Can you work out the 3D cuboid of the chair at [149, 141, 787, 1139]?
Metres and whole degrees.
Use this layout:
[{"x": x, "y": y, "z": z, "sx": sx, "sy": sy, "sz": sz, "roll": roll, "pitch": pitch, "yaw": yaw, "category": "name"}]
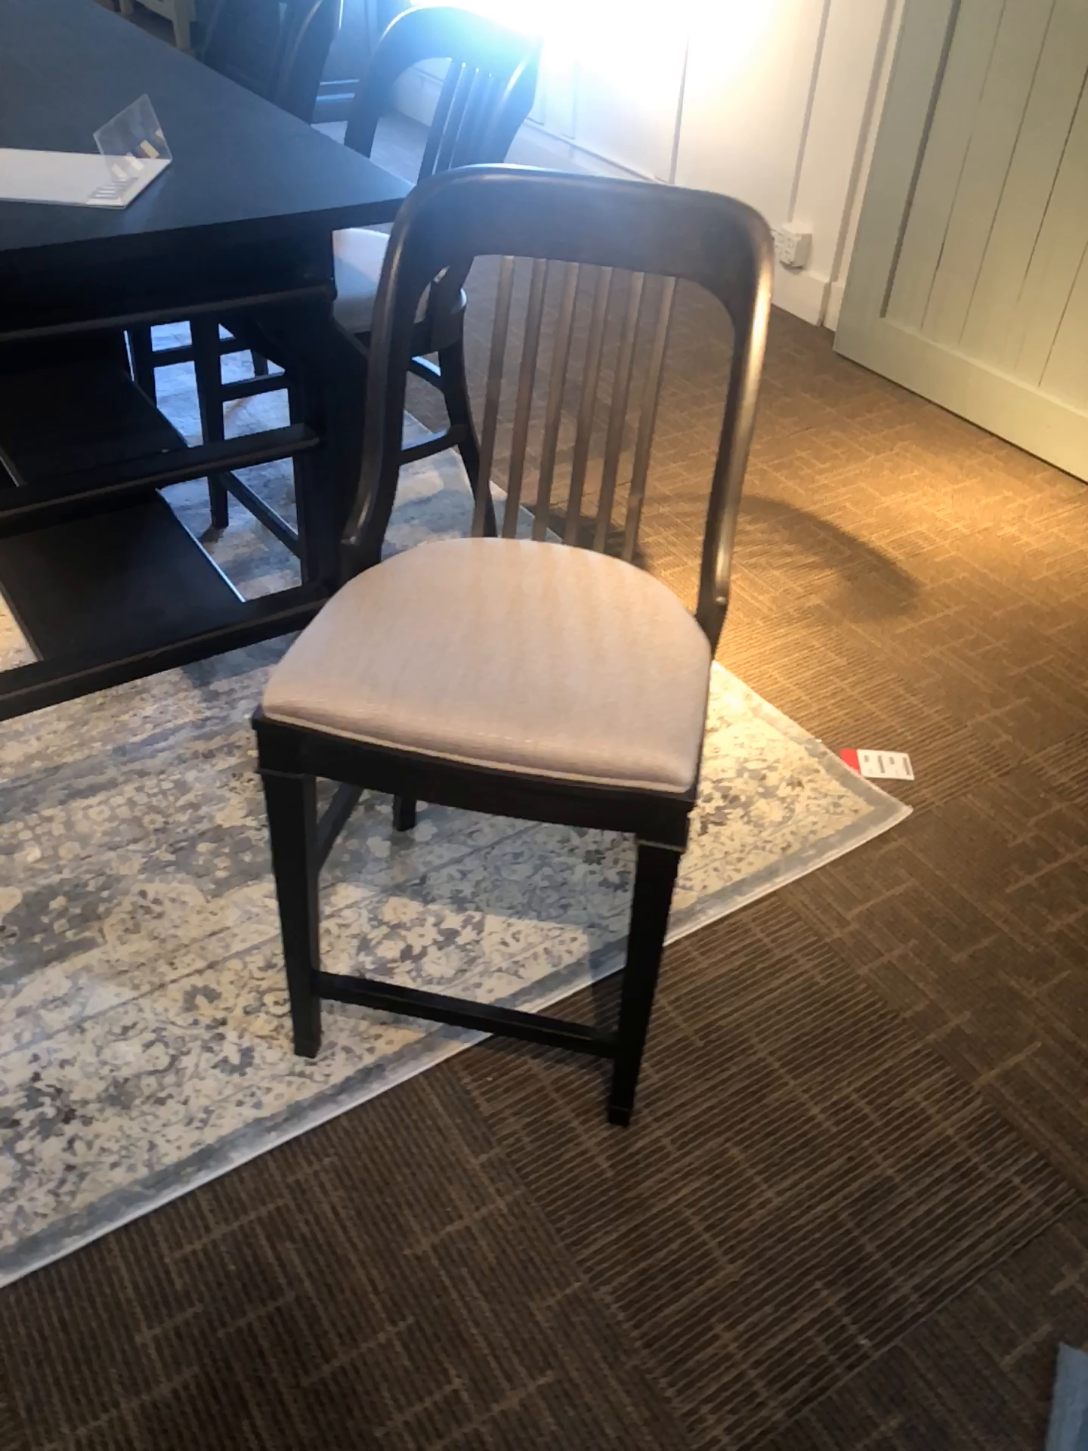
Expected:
[{"x": -0.042, "y": -0.075, "z": 1.430, "sx": 0.480, "sy": 0.985, "sz": 0.573, "roll": 9, "pitch": 40, "yaw": 6, "category": "chair"}]
